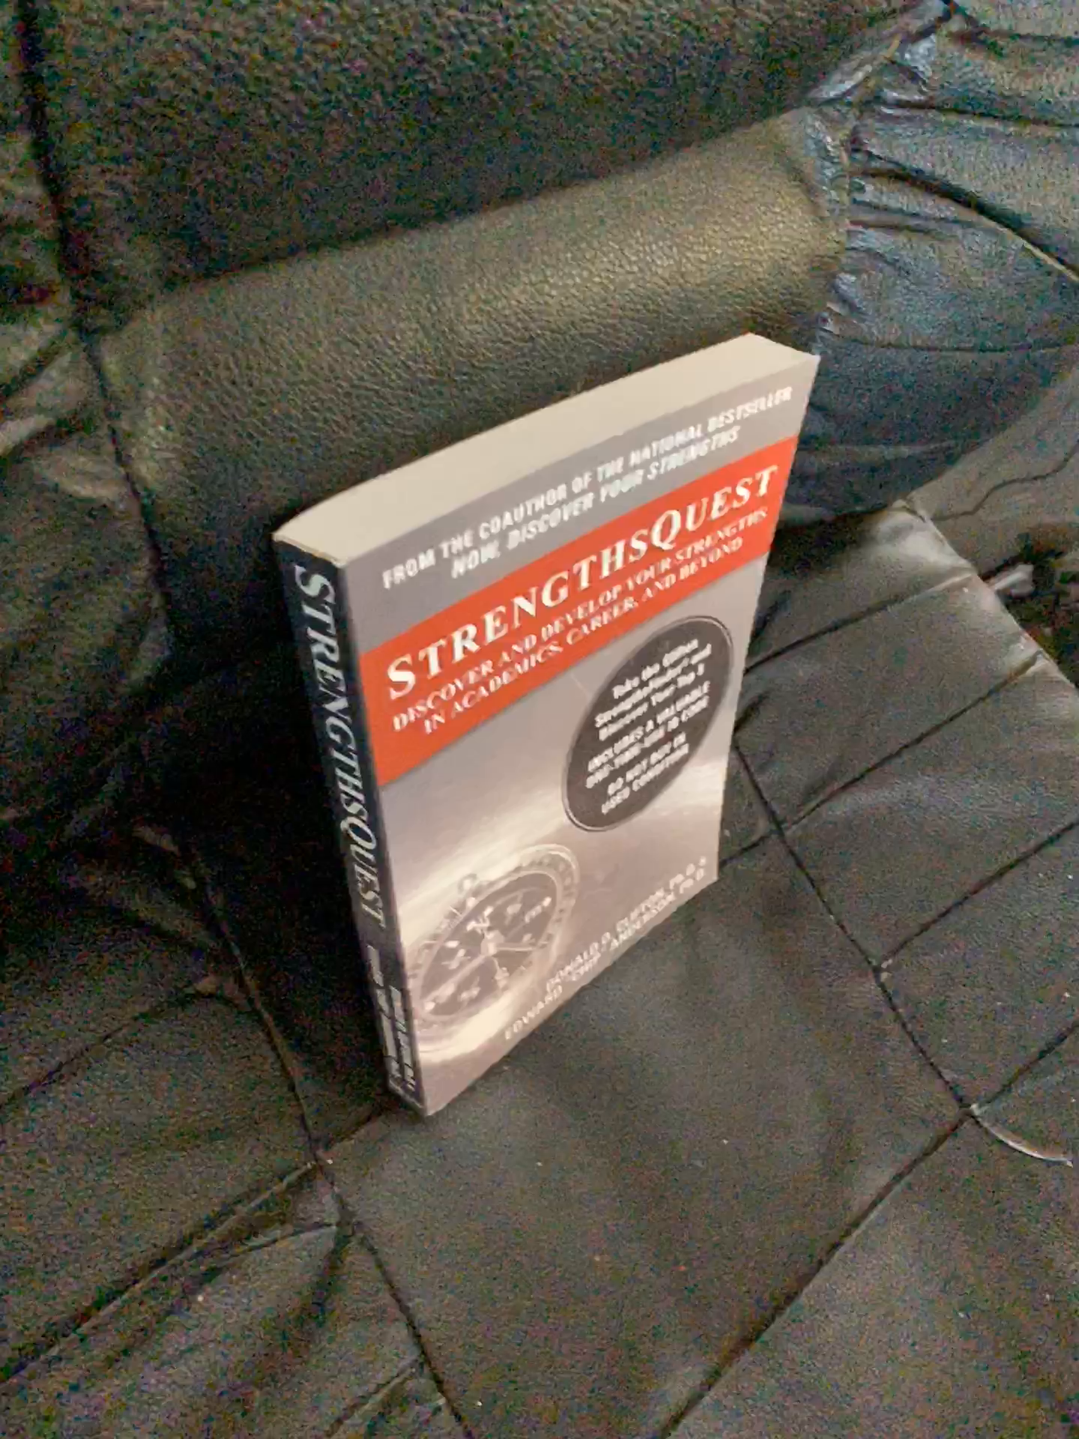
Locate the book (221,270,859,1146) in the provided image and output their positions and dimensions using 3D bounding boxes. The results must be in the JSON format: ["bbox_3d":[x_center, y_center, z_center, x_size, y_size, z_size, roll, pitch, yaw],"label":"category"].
[{"bbox_3d":[0.010,0.011,0.340,0.170,0.240,0.030,-33,53,-28],"label":"book"}]
